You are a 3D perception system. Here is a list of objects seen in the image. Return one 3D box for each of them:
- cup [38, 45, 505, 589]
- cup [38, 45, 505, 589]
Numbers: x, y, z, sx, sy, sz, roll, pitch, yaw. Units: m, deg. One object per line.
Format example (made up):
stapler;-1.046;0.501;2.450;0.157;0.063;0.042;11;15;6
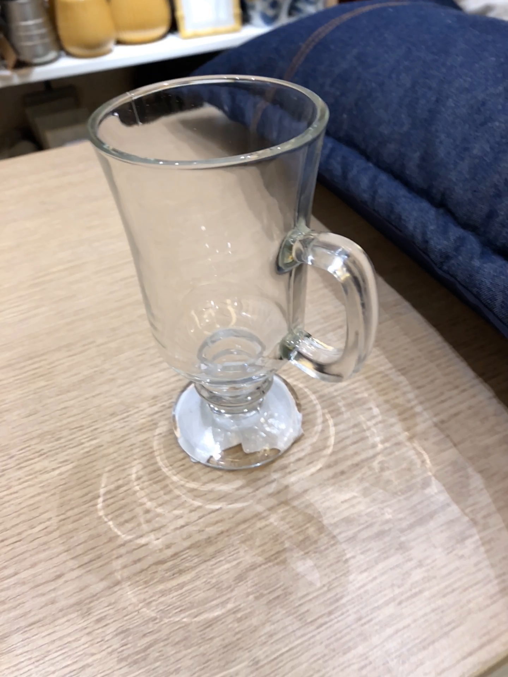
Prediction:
cup;0.000;-0.010;0.215;0.090;0.149;0.111;-24;46;-22
cup;0.000;-0.010;0.215;0.090;0.149;0.111;-24;46;-22
